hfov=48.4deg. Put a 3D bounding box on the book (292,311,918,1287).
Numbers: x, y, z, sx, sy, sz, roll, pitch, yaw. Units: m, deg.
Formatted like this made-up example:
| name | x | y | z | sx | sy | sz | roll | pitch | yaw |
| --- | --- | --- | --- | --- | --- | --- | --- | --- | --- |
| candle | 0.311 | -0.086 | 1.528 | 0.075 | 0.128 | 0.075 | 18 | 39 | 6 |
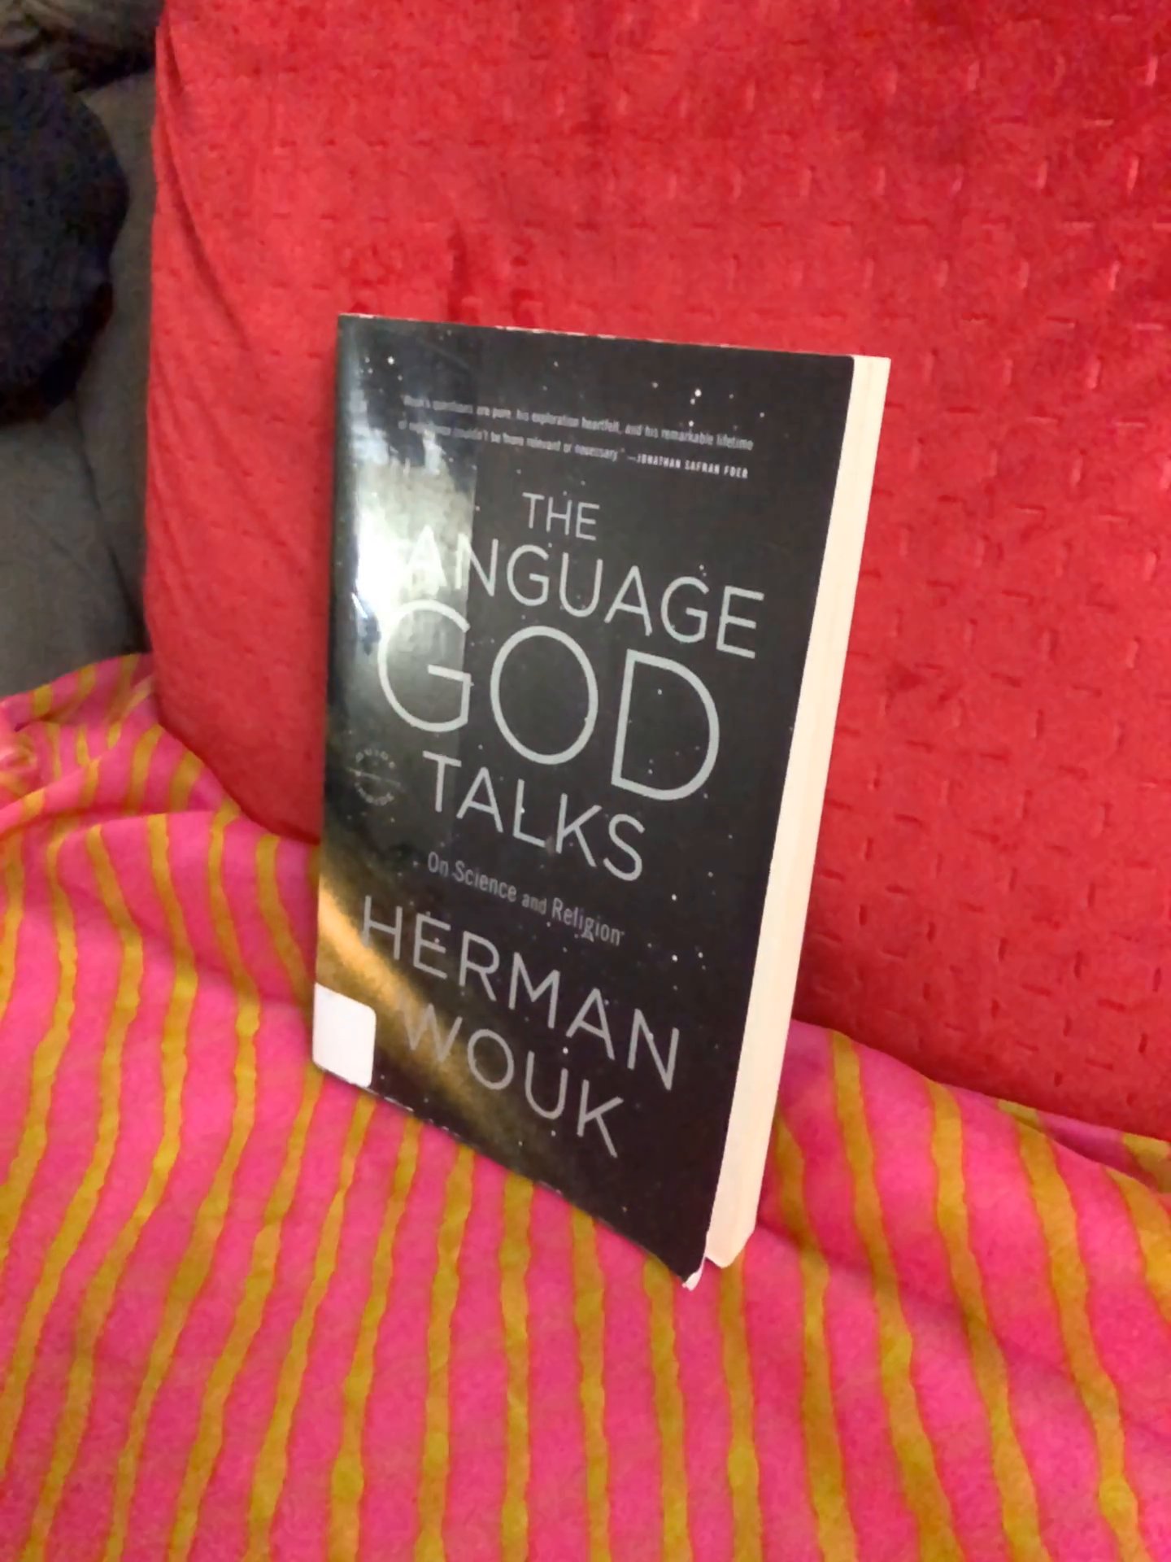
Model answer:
| name | x | y | z | sx | sy | sz | roll | pitch | yaw |
| --- | --- | --- | --- | --- | --- | --- | --- | --- | --- |
| book | -0.009 | -0.002 | 0.312 | 0.138 | 0.199 | 0.030 | 18 | 21 | 33 |
